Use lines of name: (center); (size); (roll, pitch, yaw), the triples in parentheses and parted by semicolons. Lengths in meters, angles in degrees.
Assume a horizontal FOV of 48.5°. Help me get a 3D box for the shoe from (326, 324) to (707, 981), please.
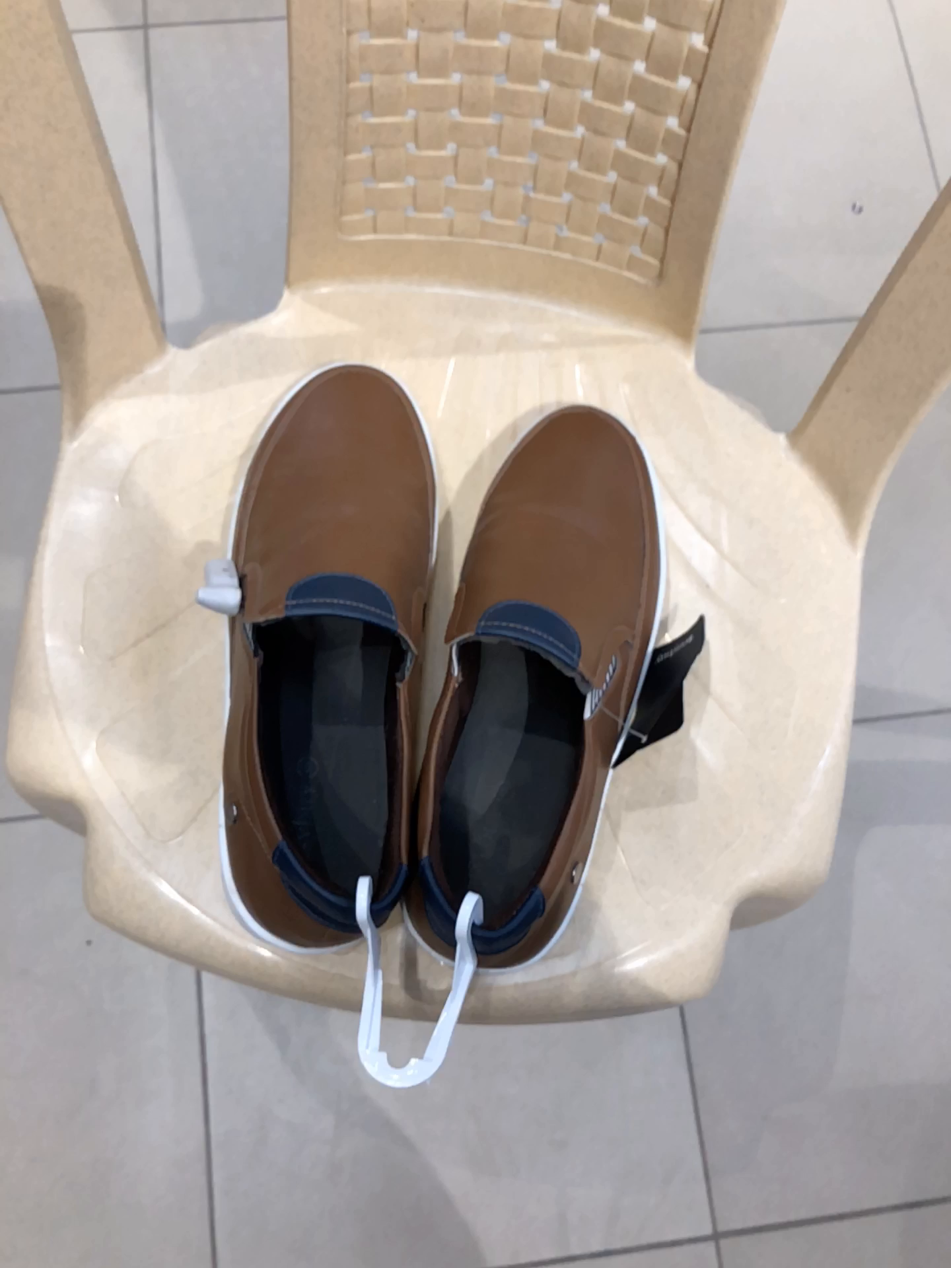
shoe: (0.026, 0.008, 0.487); (0.104, 0.099, 0.271); (11, 72, 7)

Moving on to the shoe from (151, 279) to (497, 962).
shoe: (-0.063, 0.001, 0.467); (0.105, 0.099, 0.271); (10, 71, -26)
